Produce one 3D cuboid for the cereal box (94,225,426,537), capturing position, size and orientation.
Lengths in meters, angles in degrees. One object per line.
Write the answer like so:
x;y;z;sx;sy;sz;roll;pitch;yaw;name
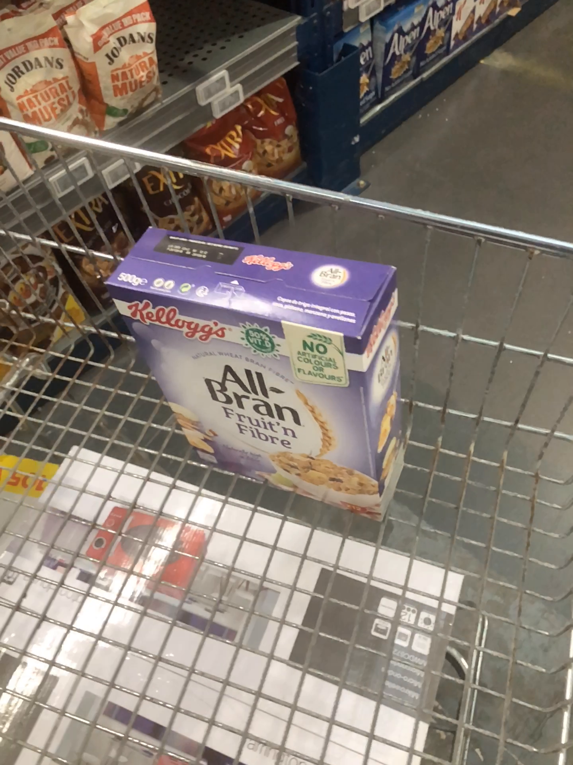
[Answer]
-0.001;0.008;0.473;0.190;0.229;0.070;13;57;22;cereal box
